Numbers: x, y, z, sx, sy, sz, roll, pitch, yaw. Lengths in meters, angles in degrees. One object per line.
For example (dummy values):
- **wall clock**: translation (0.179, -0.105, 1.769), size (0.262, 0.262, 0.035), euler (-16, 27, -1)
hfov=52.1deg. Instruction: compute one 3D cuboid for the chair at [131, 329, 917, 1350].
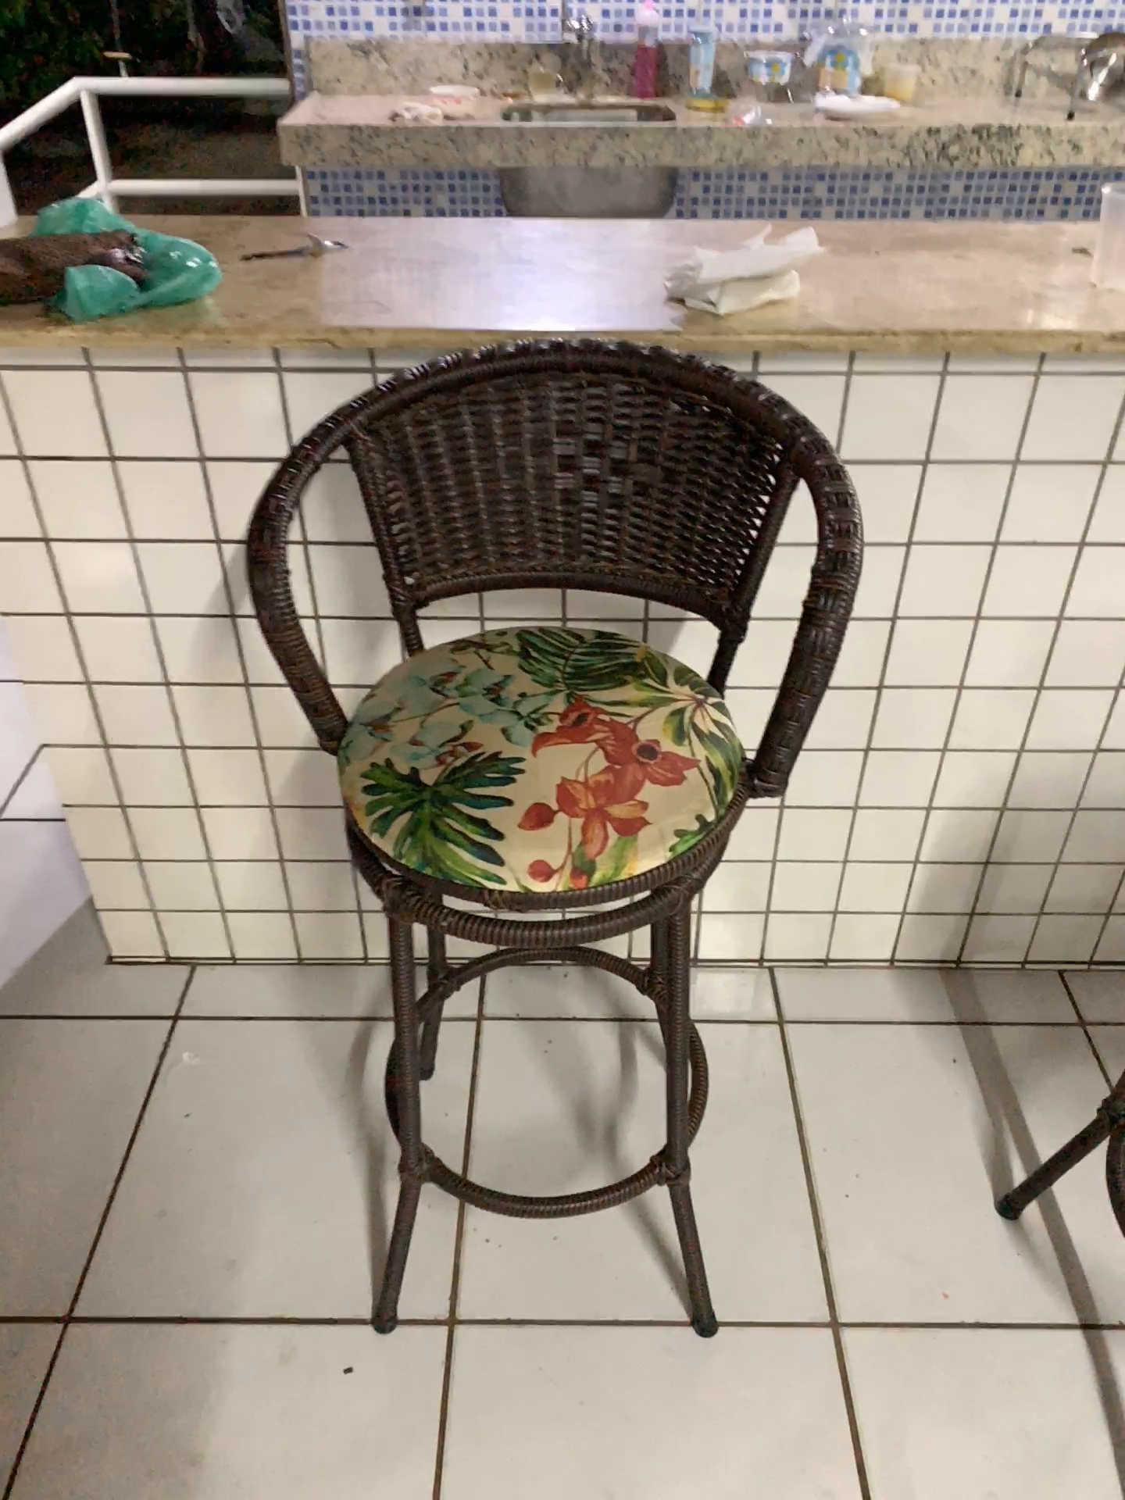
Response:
- **chair**: translation (-0.025, 0.127, 1.234), size (0.500, 0.974, 0.533), euler (0, 36, 0)
